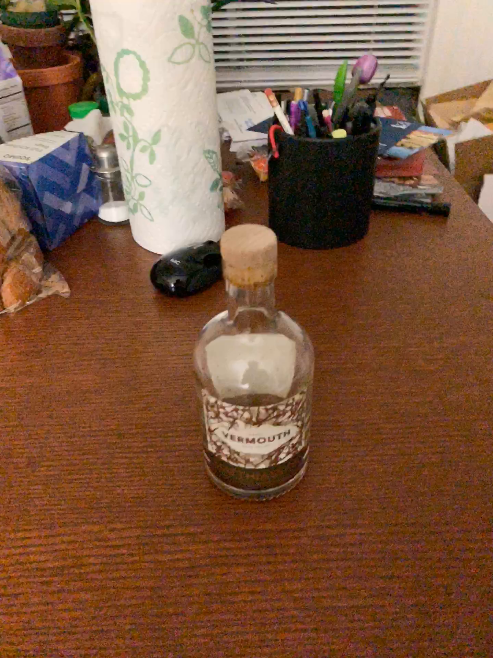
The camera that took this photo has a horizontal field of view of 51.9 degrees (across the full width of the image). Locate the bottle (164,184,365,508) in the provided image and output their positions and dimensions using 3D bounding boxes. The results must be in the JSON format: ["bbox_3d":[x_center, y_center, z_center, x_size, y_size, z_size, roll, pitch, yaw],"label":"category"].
[{"bbox_3d":[0.009,0.019,0.316,0.090,0.189,0.080,-3,38,-1],"label":"bottle"}]
